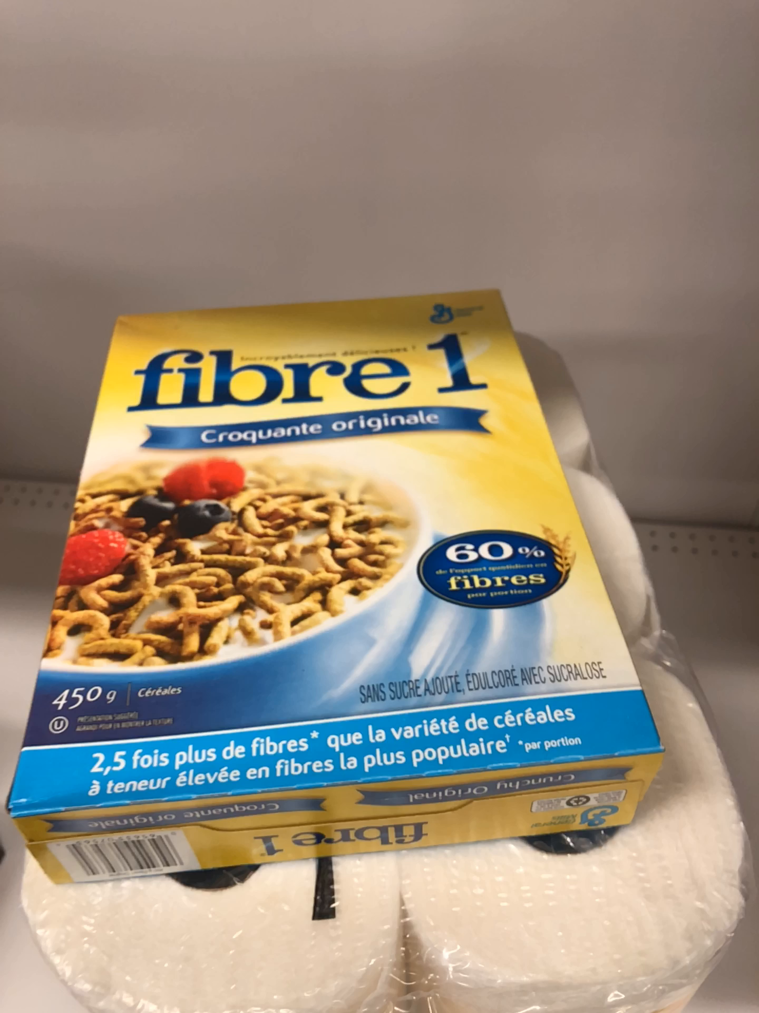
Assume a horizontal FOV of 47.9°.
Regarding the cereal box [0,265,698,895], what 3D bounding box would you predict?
[{"bbox_3d":[-0.017,0.005,0.353,0.200,0.060,0.261,-5,48,-2],"label":"cereal box"}]
